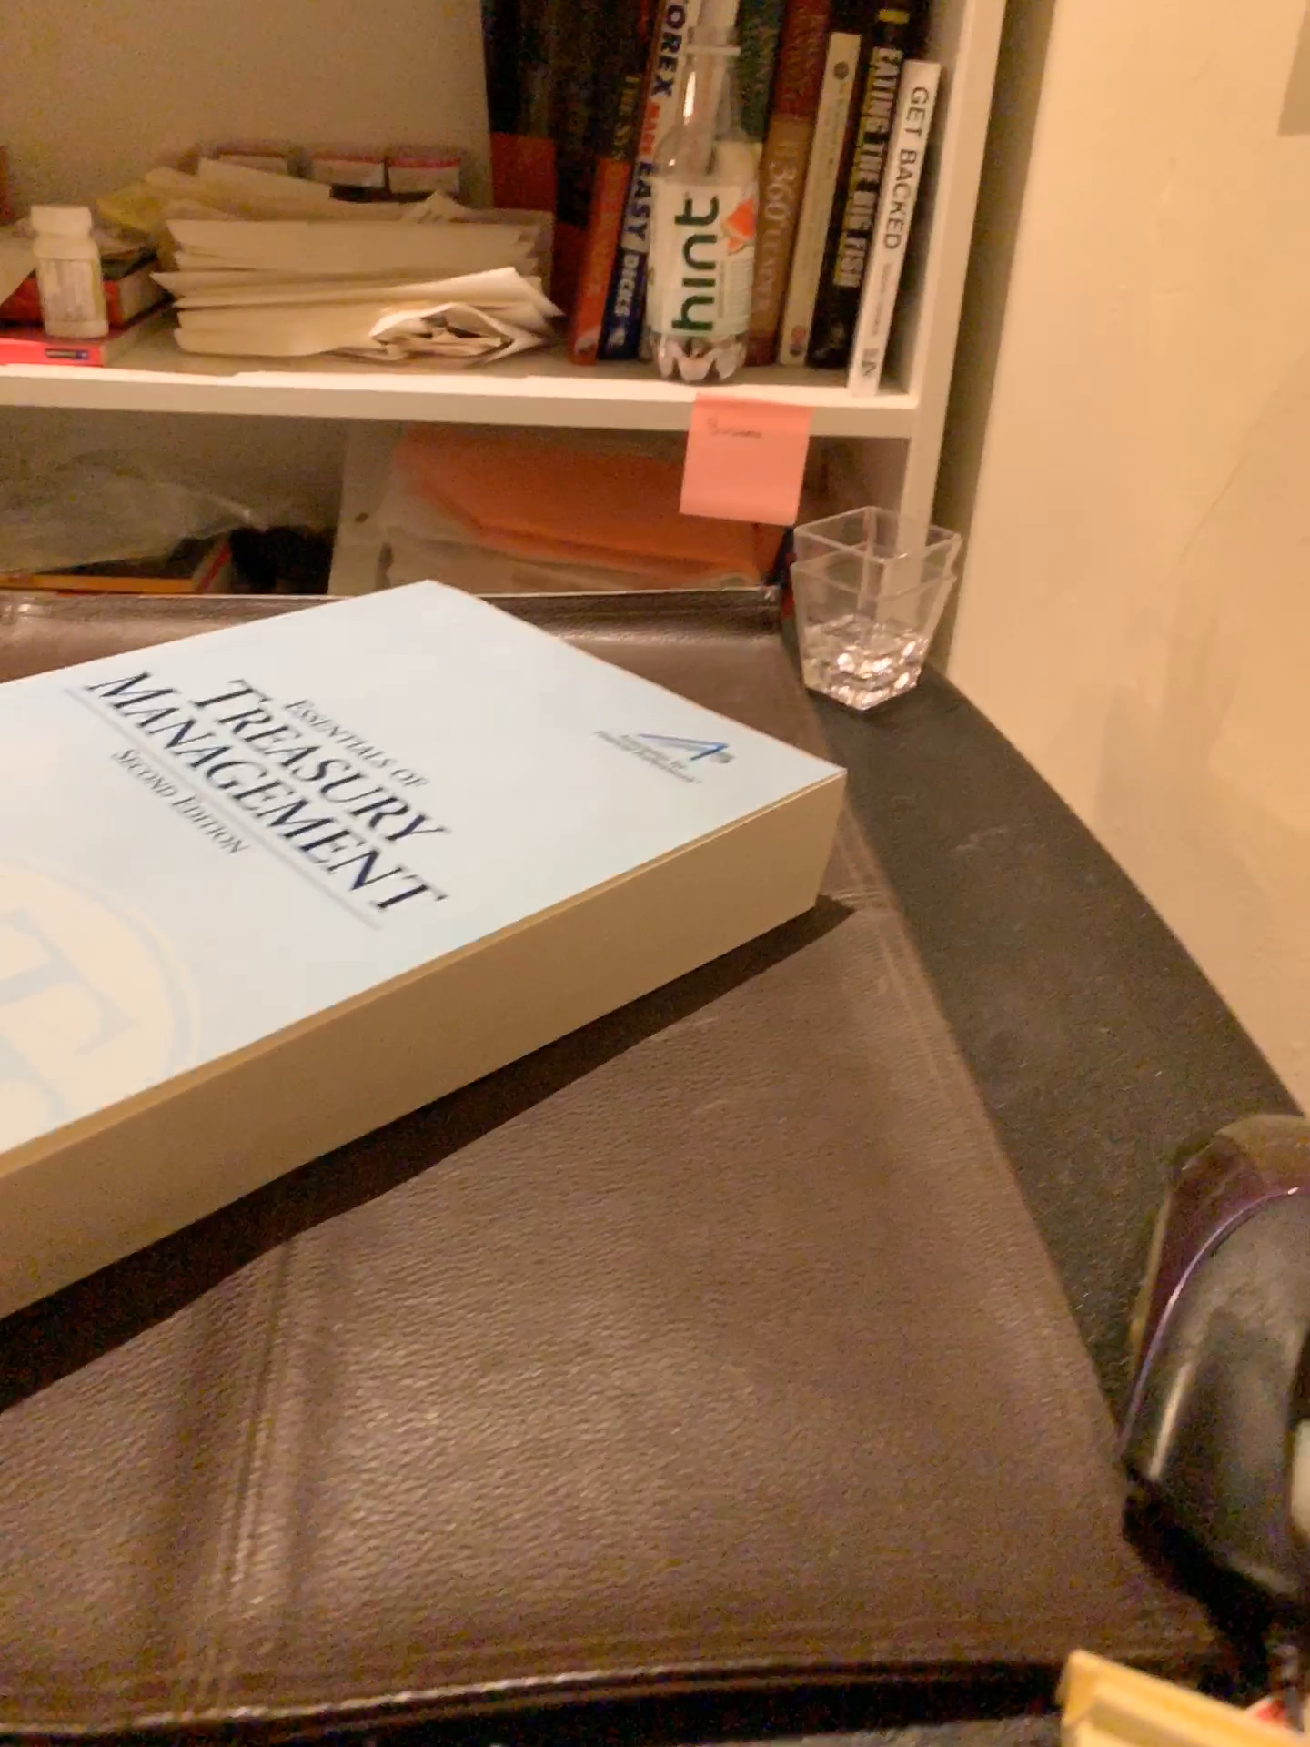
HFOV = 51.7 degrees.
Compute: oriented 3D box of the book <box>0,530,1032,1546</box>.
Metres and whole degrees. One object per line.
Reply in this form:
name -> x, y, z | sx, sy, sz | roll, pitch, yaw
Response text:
book -> -0.084, -0.009, 0.364 | 0.300, 0.060, 0.221 | -23, 40, -35
